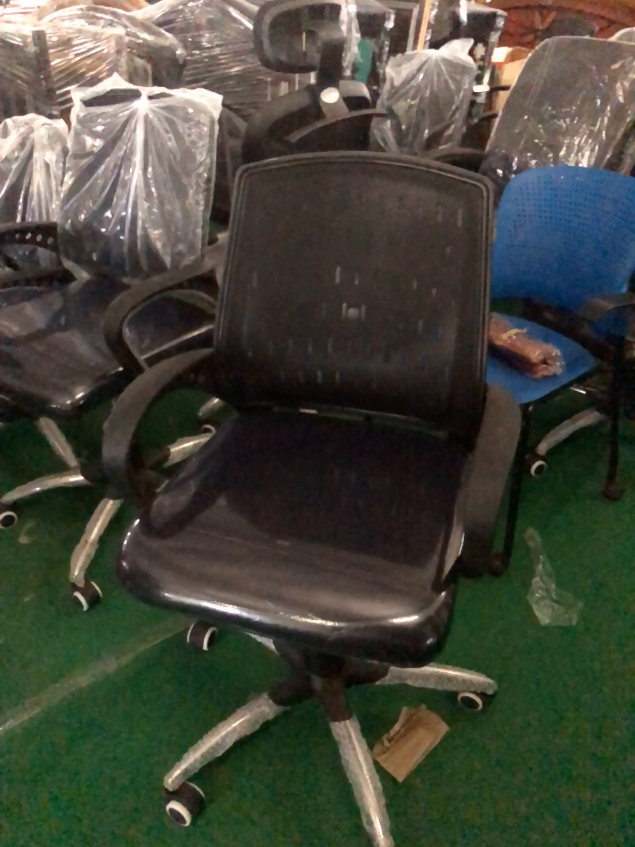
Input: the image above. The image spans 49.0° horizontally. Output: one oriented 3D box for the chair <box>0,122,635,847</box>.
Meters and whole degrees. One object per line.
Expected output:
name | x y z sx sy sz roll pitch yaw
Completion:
chair | 0.066 0.106 1.207 0.730 0.995 0.875 8 34 14
